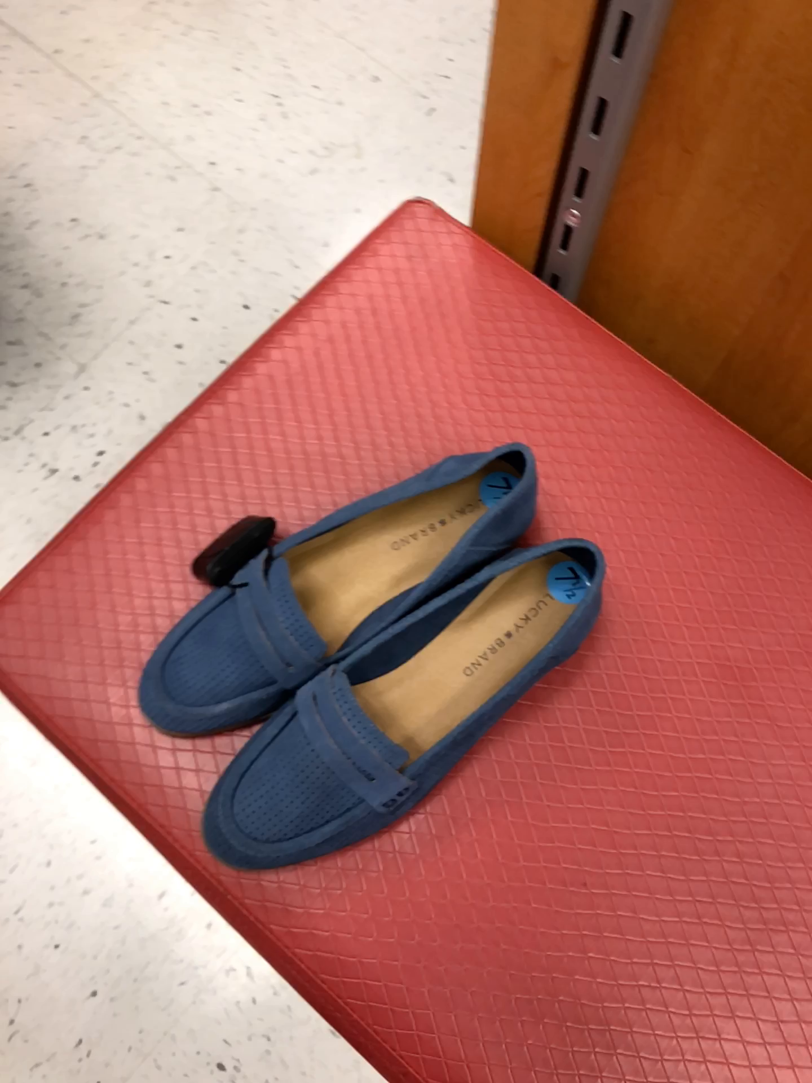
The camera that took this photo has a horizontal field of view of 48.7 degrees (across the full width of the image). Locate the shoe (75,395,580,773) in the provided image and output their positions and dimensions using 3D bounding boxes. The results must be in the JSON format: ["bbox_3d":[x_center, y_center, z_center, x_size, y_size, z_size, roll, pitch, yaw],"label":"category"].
[{"bbox_3d":[-0.038,0.023,0.498,0.253,0.069,0.082,-29,74,-10],"label":"shoe"}]

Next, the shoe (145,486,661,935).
[{"bbox_3d":[0.002,0.086,0.480,0.258,0.069,0.085,-35,75,-12],"label":"shoe"}]
